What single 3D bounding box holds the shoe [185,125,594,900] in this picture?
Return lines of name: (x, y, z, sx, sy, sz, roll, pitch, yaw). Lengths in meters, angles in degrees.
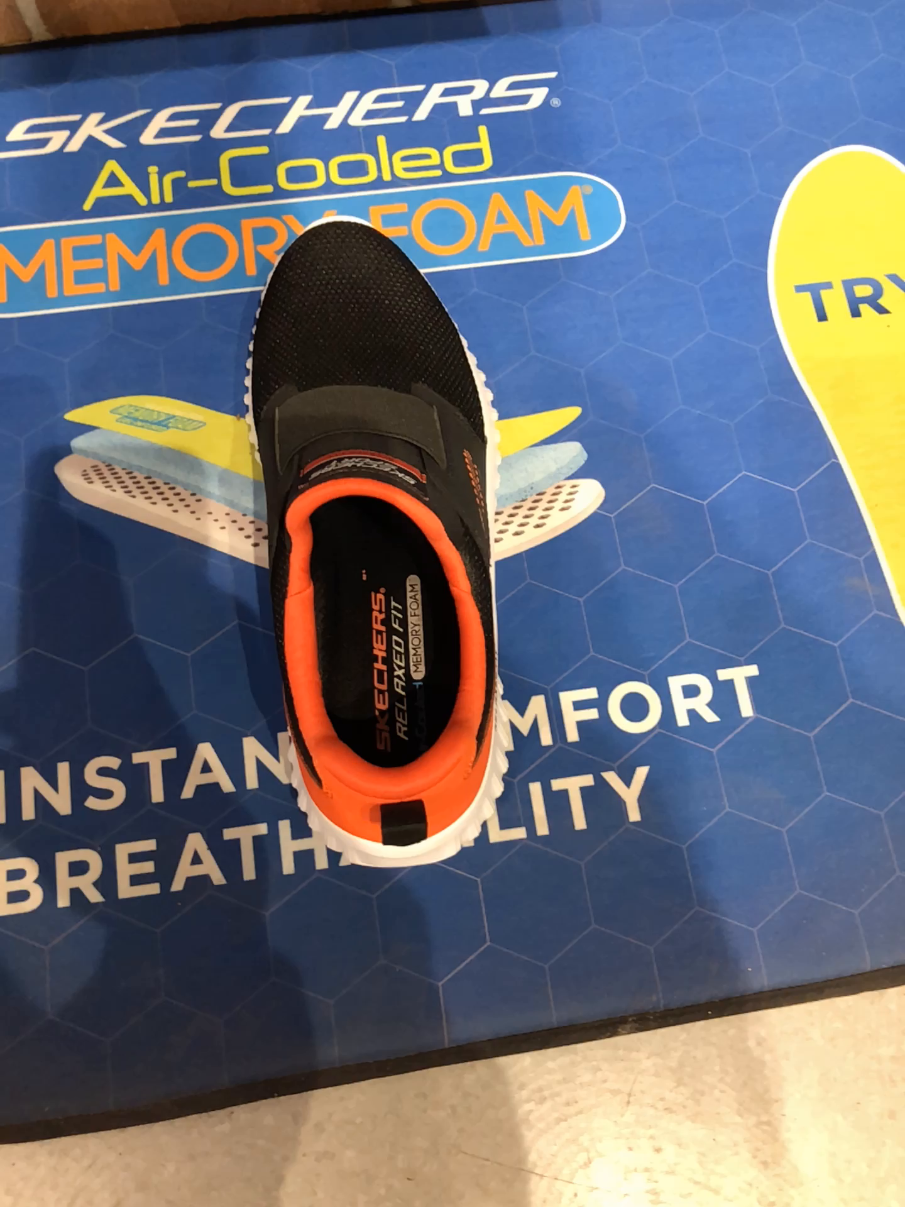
shoe: (-0.031, -0.029, 0.412, 0.116, 0.136, 0.276, -5, 75, -4)
